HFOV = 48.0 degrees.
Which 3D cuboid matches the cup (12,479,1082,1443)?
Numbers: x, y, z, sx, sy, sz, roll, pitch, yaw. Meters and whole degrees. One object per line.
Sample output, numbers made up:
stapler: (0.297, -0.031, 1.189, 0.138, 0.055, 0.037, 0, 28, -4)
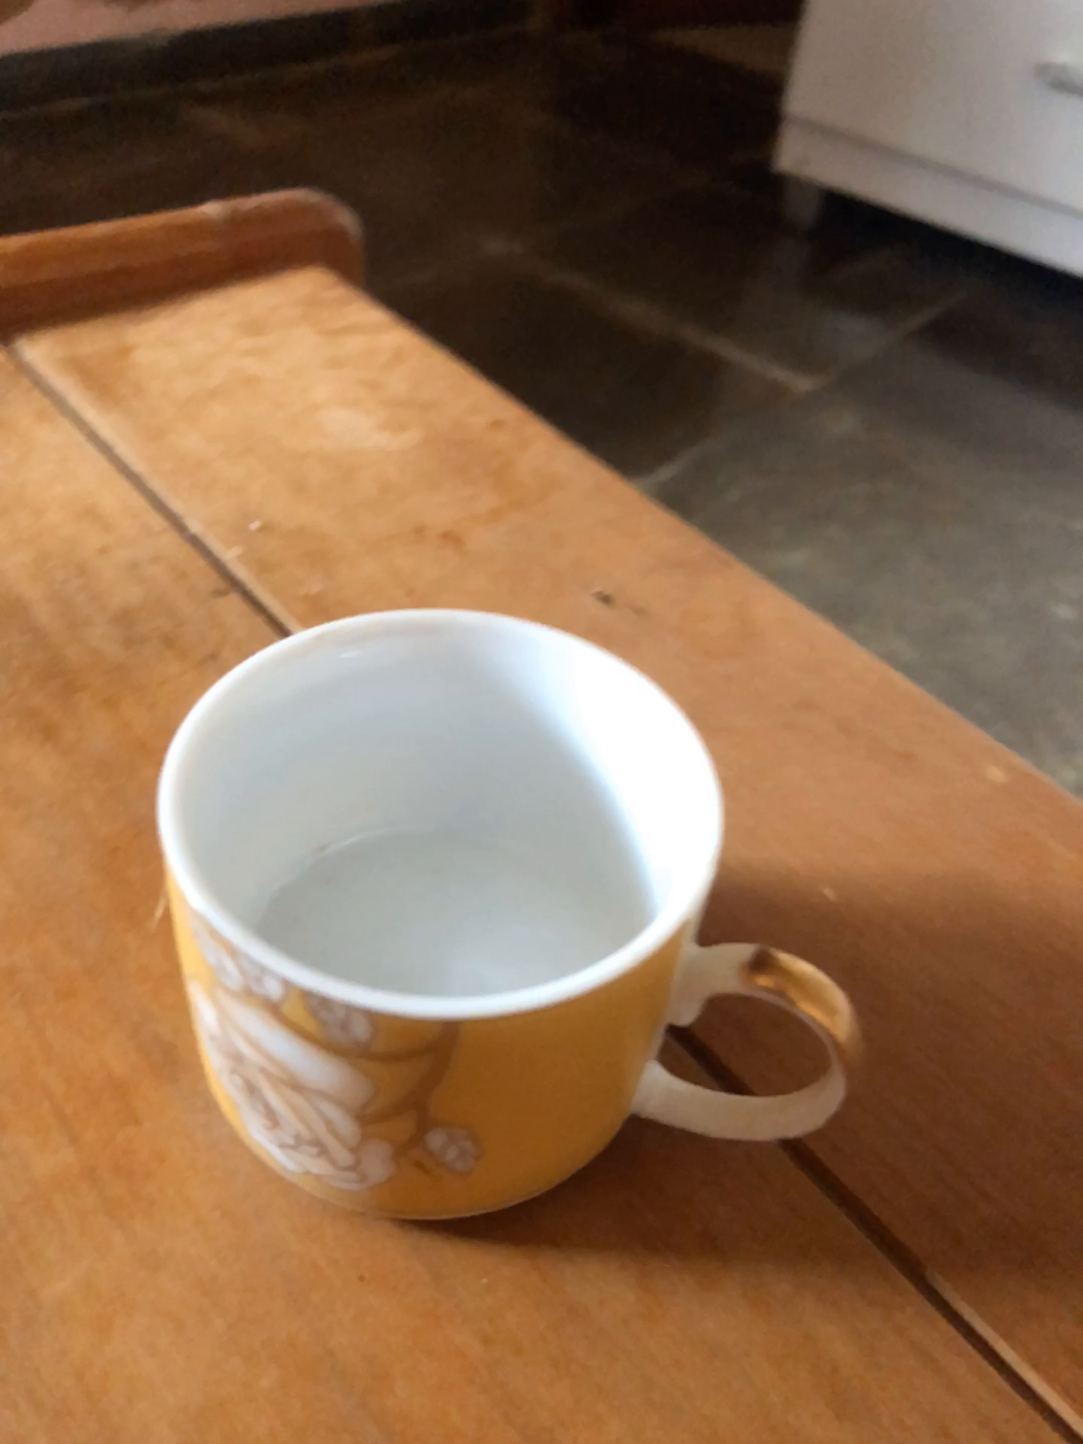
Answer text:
cup: (0.006, 0.023, 0.137, 0.090, 0.050, 0.071, 20, 43, 13)
